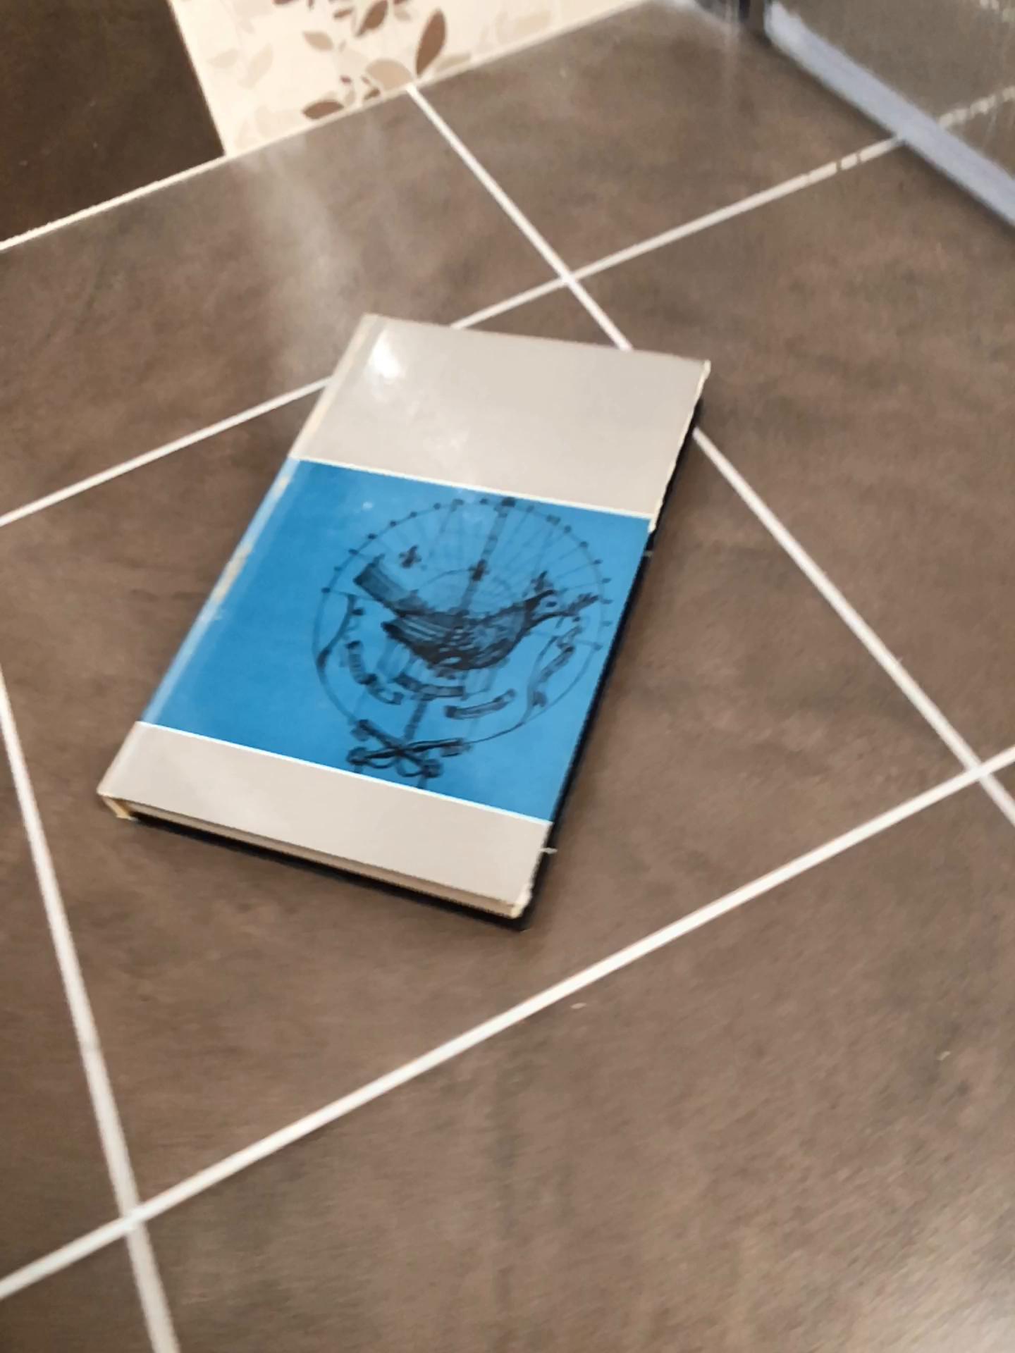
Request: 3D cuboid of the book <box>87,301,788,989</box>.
[{"bbox_3d":[-0.014,-0.040,0.501,0.210,0.040,0.301,13,60,17],"label":"book"}]
